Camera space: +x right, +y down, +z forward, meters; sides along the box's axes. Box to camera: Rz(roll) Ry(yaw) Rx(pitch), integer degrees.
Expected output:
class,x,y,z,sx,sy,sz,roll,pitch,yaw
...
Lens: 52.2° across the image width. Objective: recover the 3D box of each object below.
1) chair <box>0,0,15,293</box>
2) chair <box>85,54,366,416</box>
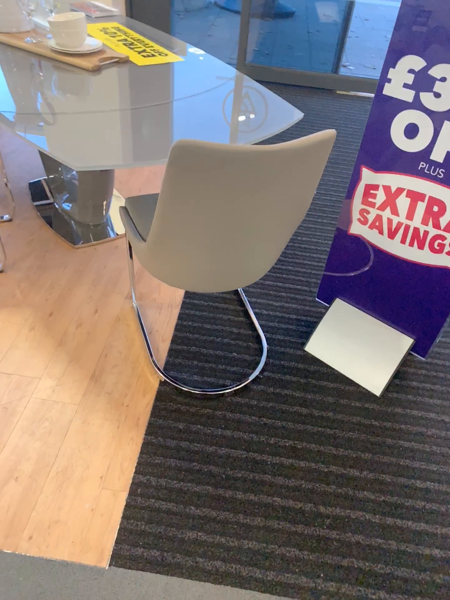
class,x,y,z,sx,sy,sz,roll,pitch,yaw
chair,-1.229,-0.614,1.706,0.590,1.024,0.511,-7,43,-14
chair,-0.066,-0.200,1.410,0.507,0.846,0.594,-12,45,-19
